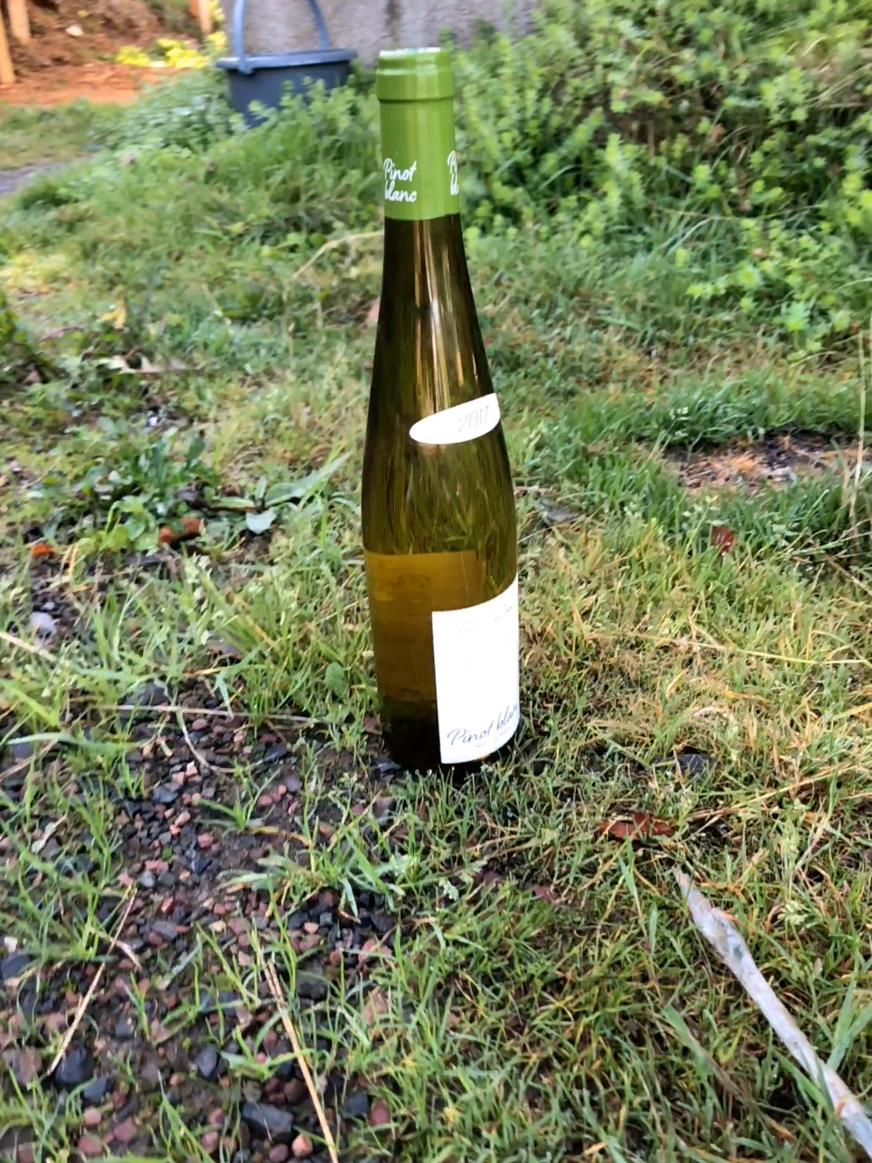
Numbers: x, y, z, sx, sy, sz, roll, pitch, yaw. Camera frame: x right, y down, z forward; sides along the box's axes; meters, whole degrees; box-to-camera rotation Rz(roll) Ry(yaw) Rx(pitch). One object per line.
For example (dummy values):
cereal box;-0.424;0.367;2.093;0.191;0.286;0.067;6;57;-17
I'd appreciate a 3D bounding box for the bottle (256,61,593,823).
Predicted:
bottle;0.006;-0.053;0.440;0.090;0.318;0.090;-3;30;2
